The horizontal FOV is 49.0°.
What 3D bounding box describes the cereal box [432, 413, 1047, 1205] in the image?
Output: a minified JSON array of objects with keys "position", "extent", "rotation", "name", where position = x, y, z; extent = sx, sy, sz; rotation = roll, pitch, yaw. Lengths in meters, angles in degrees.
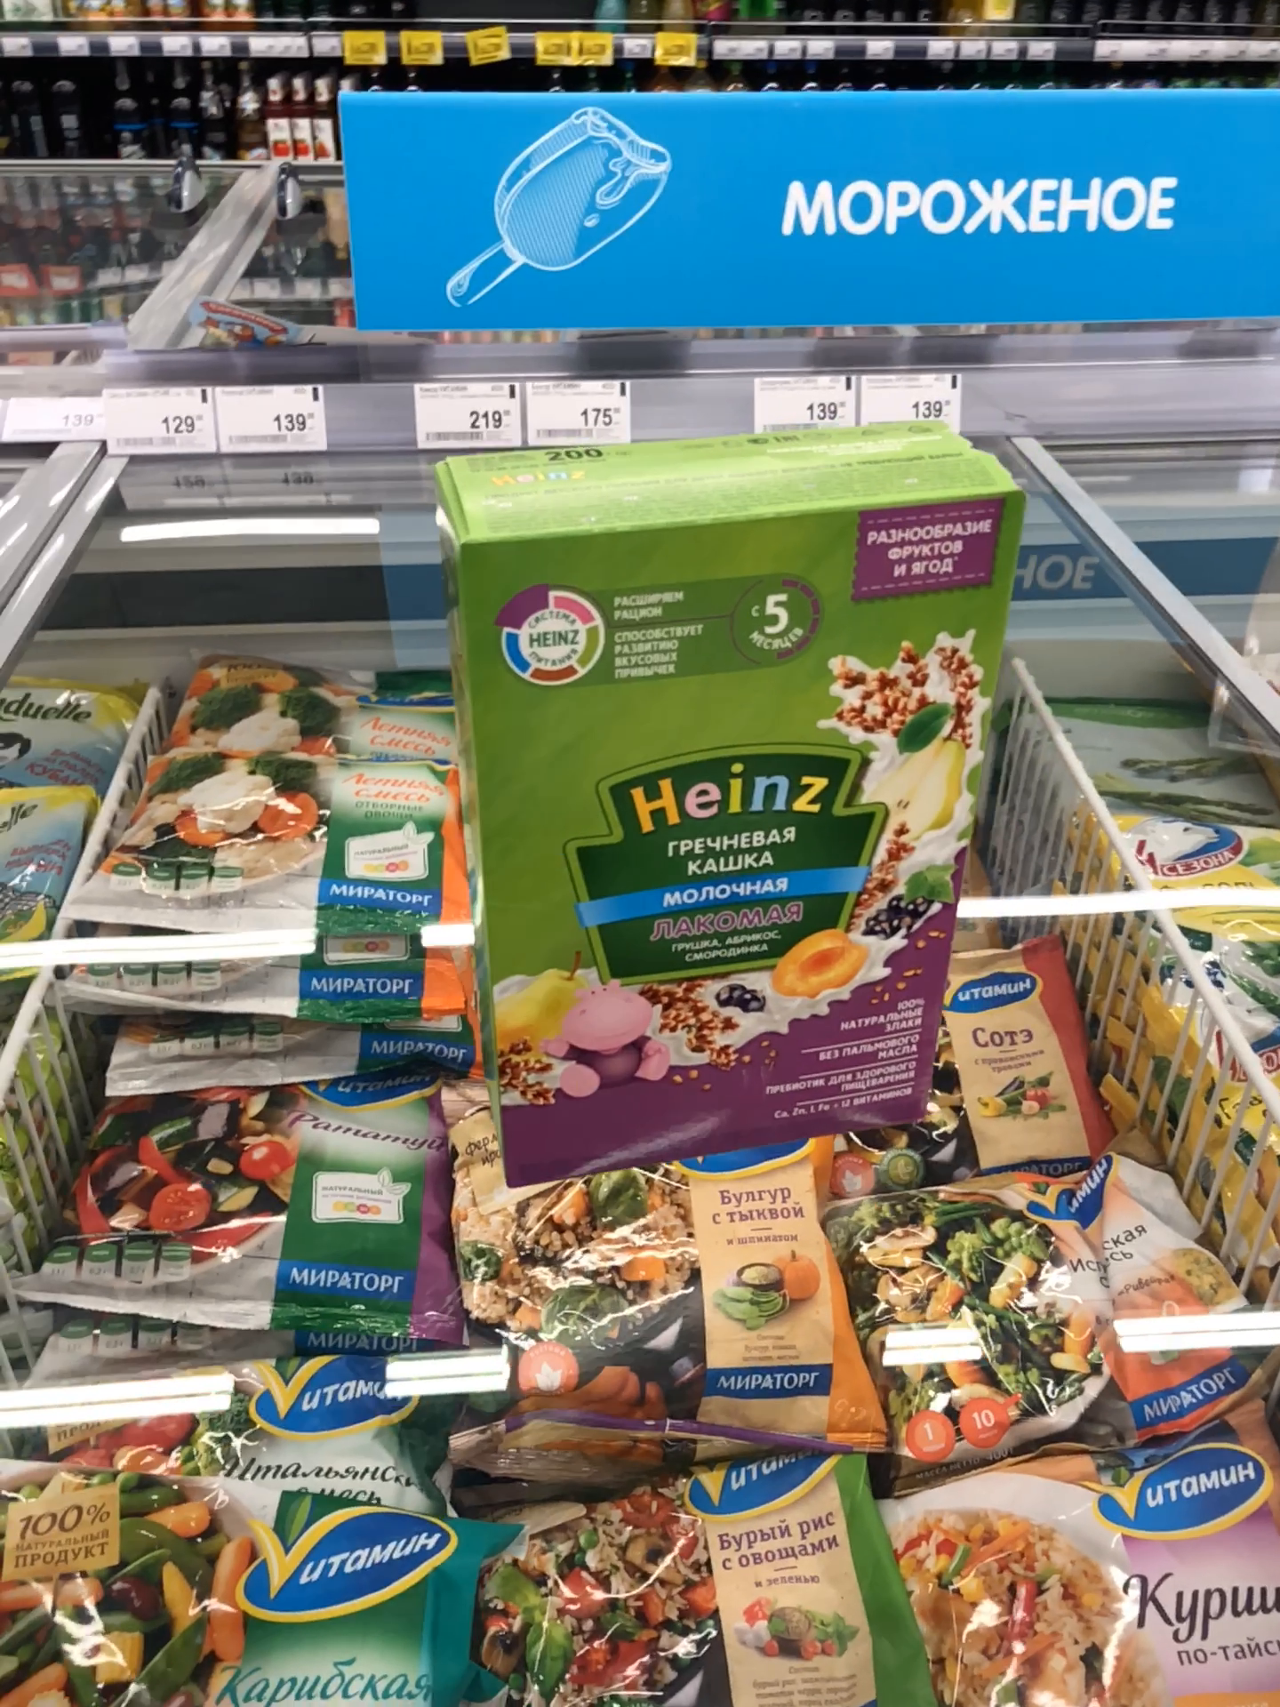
[{"position":[0.020,-0.005,0.374],"extent":[0.130,0.199,0.050],"rotation":[-8,35,-12],"name":"cereal box"}]
